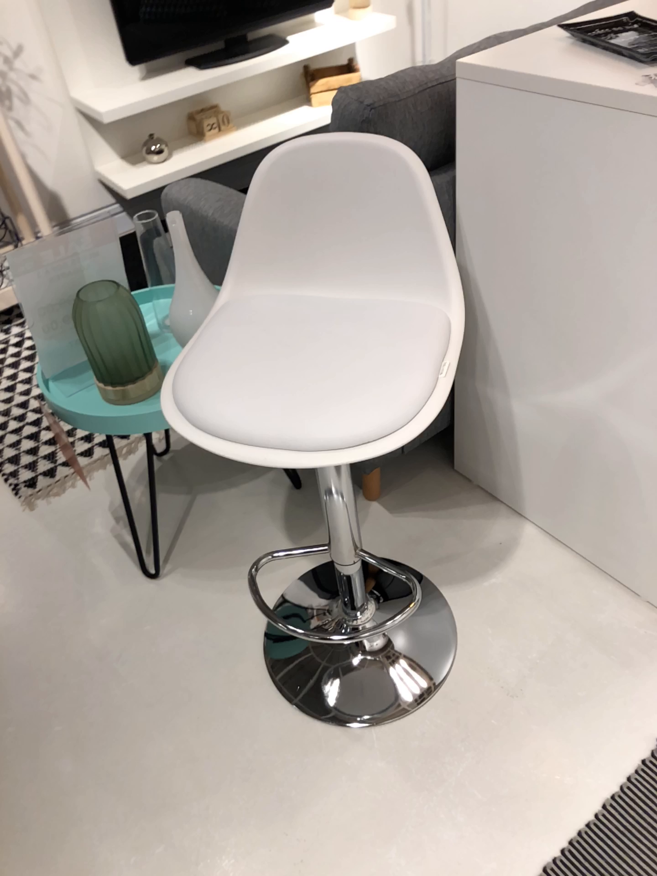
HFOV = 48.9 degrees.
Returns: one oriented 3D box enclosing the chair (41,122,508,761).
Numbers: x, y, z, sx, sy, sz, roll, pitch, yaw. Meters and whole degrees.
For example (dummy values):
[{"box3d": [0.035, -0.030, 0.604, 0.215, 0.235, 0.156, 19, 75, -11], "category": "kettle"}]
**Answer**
[{"box3d": [0.012, 0.040, 1.129, 0.410, 0.884, 0.422, 10, 44, 20], "category": "chair"}]
